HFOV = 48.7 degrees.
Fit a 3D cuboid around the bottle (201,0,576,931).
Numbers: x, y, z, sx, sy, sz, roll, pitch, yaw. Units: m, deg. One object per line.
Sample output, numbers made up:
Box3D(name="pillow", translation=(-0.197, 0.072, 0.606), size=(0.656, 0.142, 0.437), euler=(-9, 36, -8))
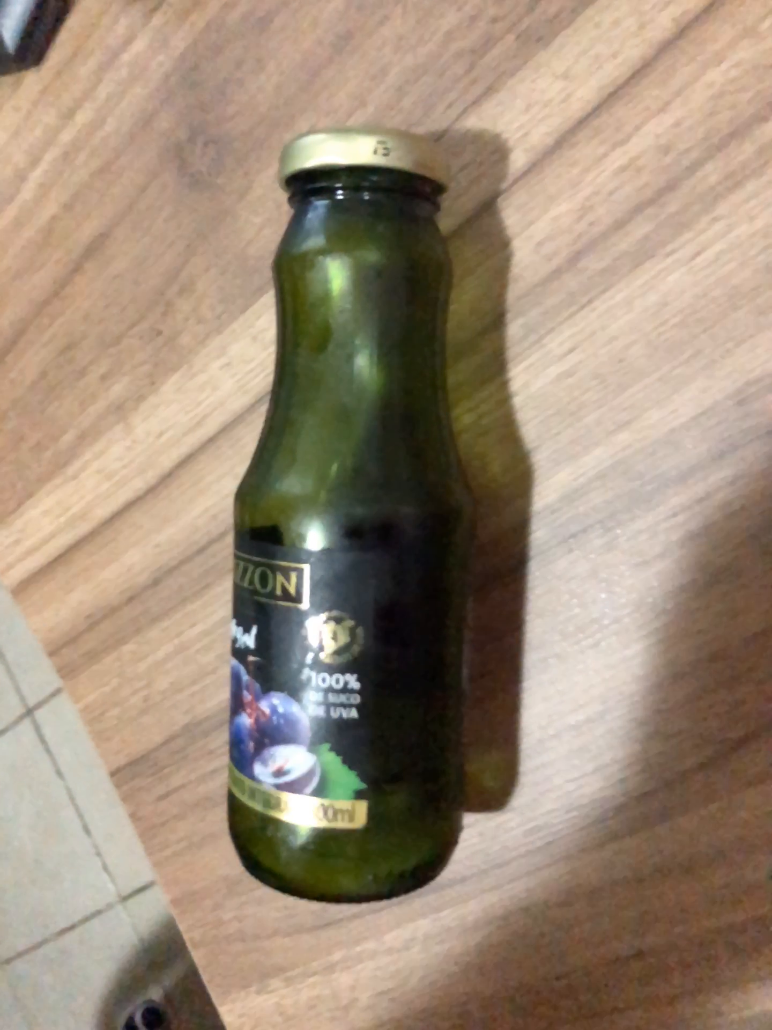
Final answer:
Box3D(name="bottle", translation=(-0.005, -0.011, 0.226), size=(0.070, 0.070, 0.200), euler=(14, 104, 63))
